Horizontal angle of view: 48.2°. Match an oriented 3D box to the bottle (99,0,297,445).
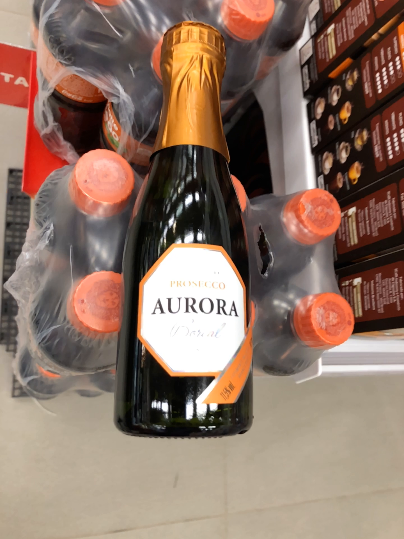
[{"bbox_3d":[-0.001,-0.029,0.186,0.060,0.050,0.180,6,78,-21],"label":"bottle"}]
